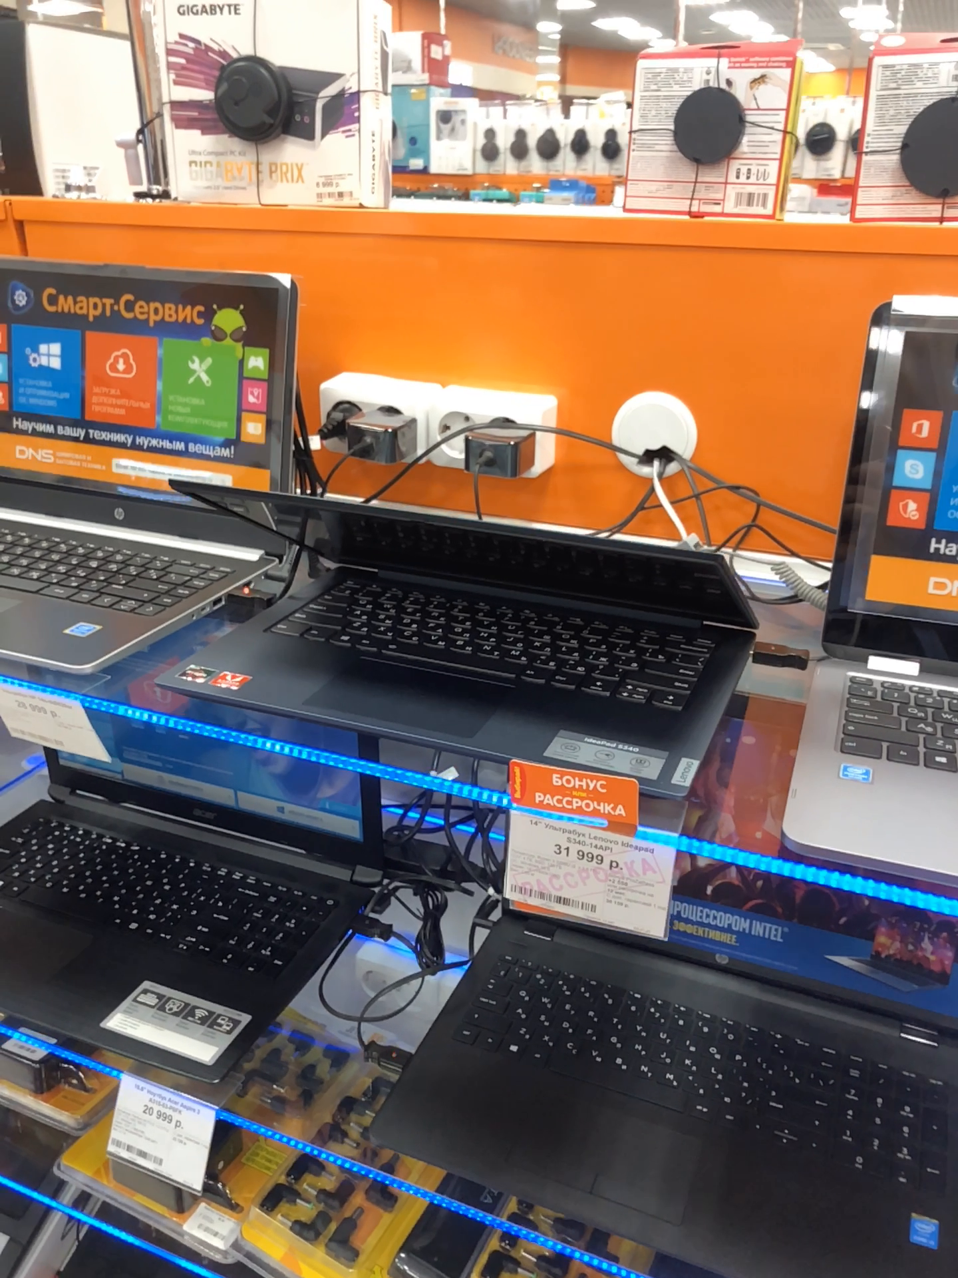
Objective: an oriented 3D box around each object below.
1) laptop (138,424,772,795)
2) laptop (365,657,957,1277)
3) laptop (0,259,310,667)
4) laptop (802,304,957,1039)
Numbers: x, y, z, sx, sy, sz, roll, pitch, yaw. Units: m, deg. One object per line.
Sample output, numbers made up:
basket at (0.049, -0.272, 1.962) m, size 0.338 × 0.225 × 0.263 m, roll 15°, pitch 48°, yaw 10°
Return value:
laptop at (-0.005, -0.039, 0.612) m, size 0.302 × 0.108 × 0.204 m, roll 10°, pitch 25°, yaw 22°
laptop at (0.154, 0.195, 0.675) m, size 0.354 × 0.227 × 0.259 m, roll 9°, pitch 27°, yaw 22°
laptop at (-0.327, -0.147, 0.748) m, size 0.302 × 0.200 × 0.251 m, roll 11°, pitch 26°, yaw 21°
laptop at (0.338, -0.027, 0.492) m, size 0.330 × 0.202 × 0.258 m, roll 9°, pitch 25°, yaw 17°
